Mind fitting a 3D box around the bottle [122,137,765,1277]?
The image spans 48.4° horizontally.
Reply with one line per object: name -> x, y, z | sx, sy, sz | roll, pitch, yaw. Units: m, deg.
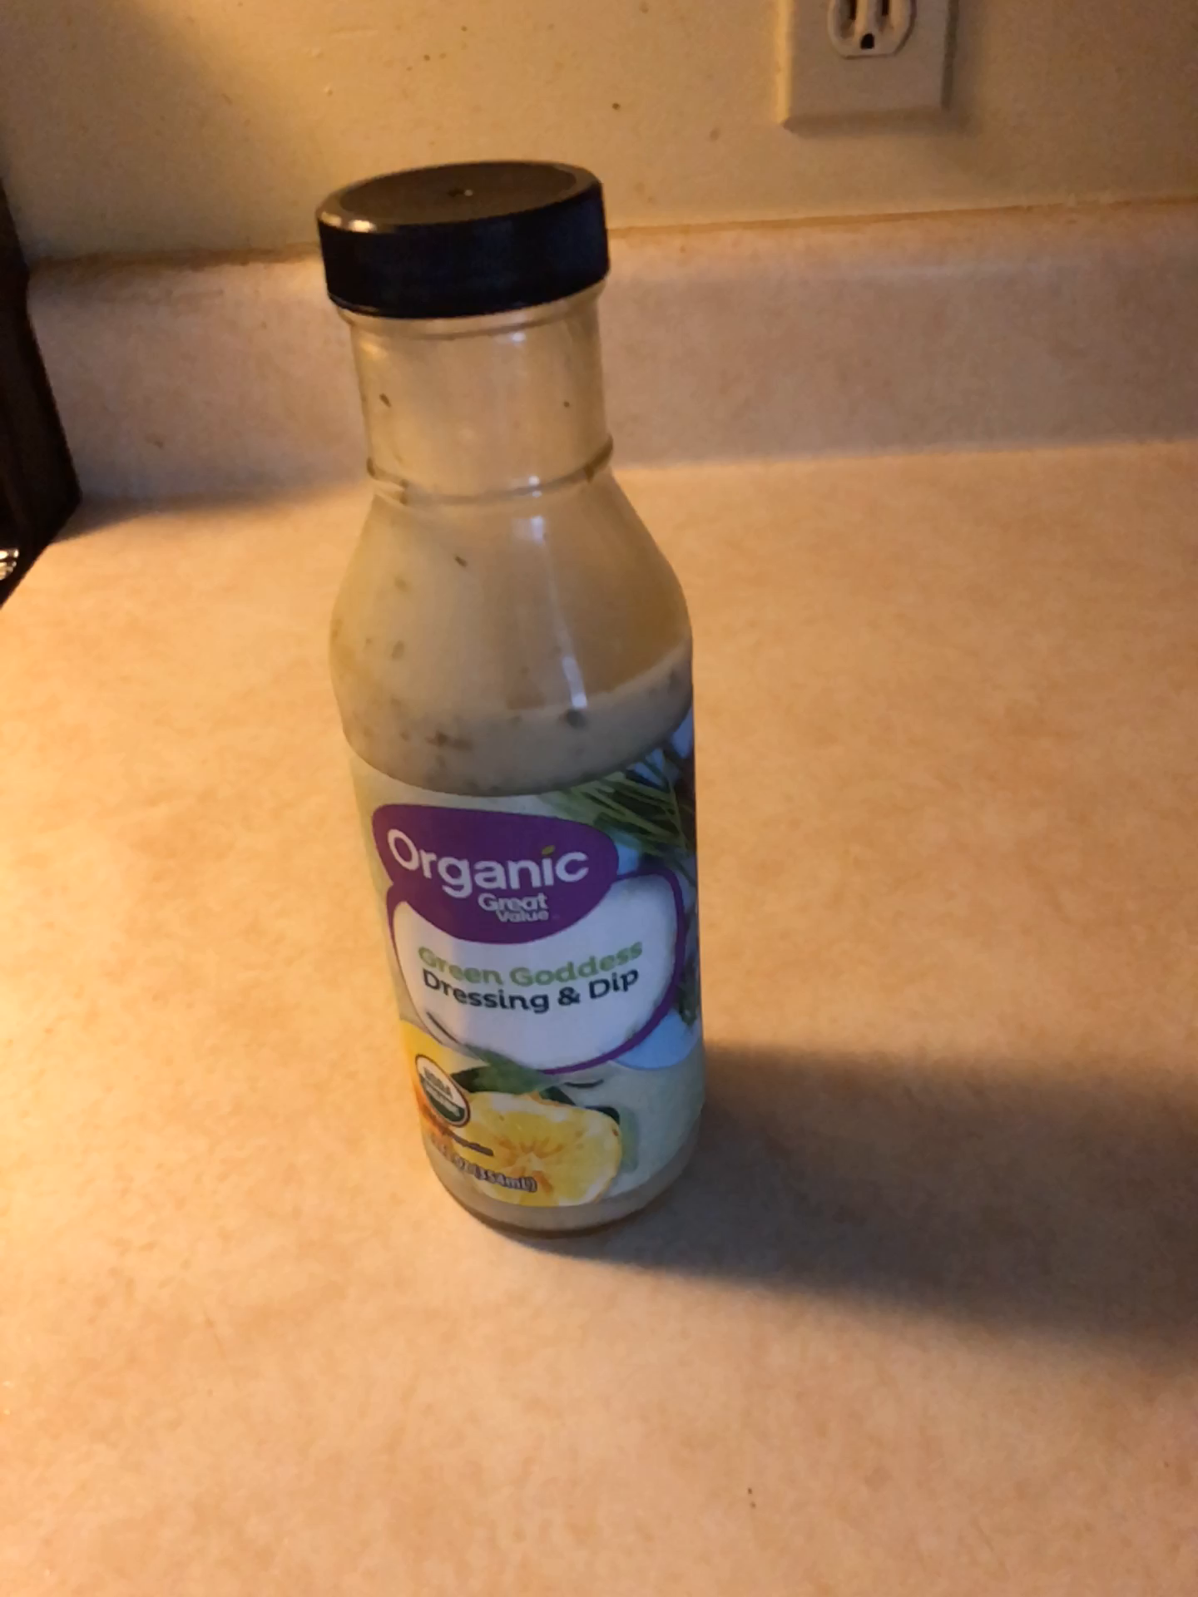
bottle -> -0.012, -0.008, 0.240 | 0.070, 0.190, 0.070 | -3, 35, 2
